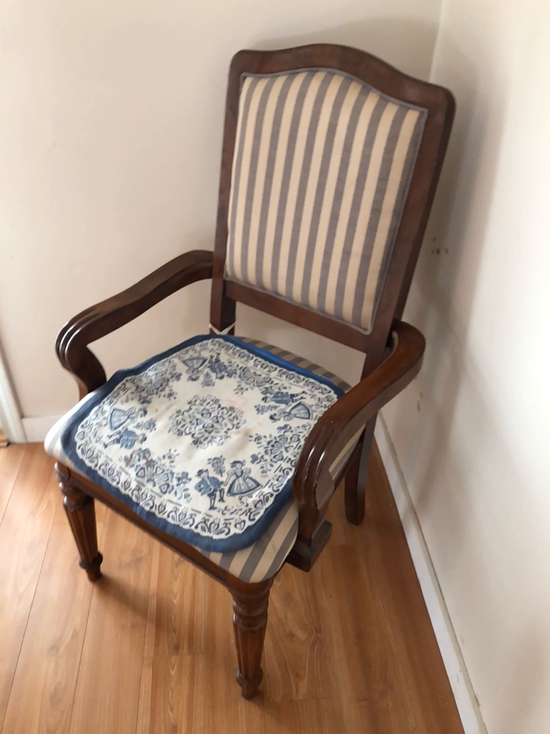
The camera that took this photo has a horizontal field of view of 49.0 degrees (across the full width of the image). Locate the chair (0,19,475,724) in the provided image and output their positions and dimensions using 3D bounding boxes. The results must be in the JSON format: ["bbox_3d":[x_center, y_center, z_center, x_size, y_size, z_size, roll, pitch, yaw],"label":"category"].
[{"bbox_3d":[-0.096,0.014,1.117,0.531,1.043,0.583,22,42,25],"label":"chair"}]
